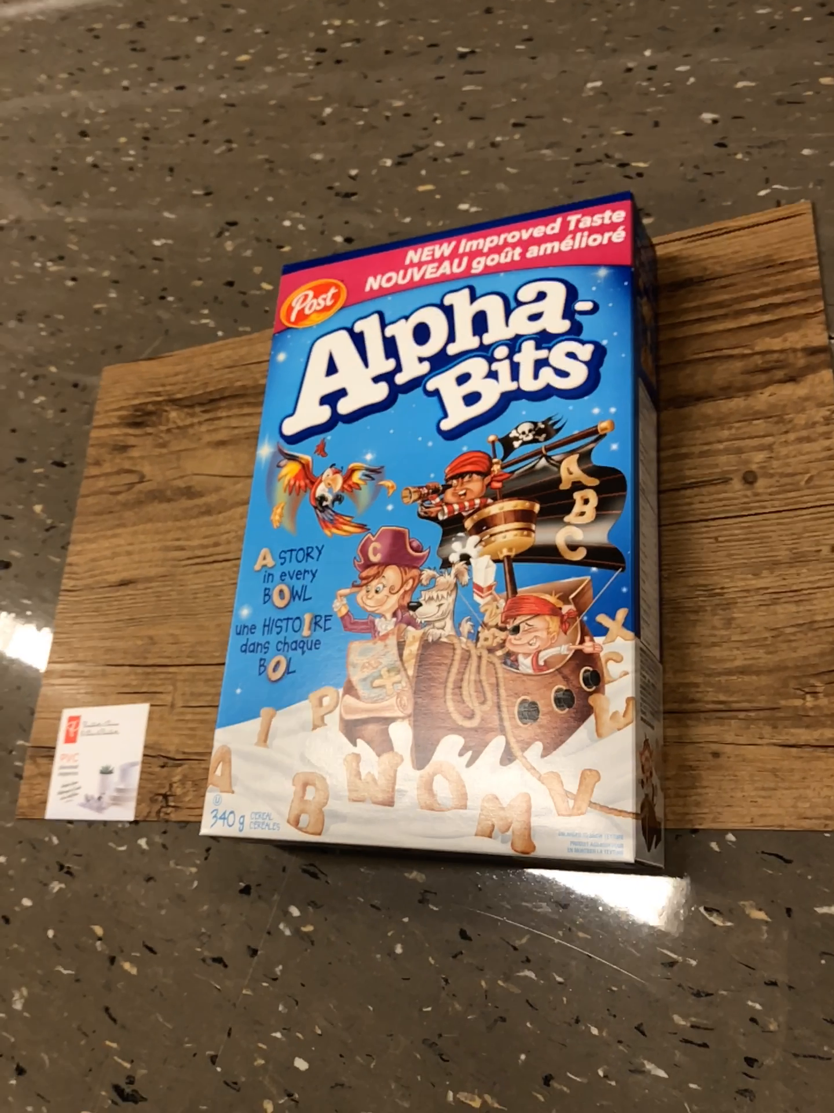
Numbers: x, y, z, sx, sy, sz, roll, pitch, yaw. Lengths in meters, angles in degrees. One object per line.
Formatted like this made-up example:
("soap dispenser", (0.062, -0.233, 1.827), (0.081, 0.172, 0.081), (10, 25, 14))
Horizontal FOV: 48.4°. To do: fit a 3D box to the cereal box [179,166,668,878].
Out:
("cereal box", (0.012, -0.019, 0.445), (0.200, 0.060, 0.310), (-4, 68, 25))
